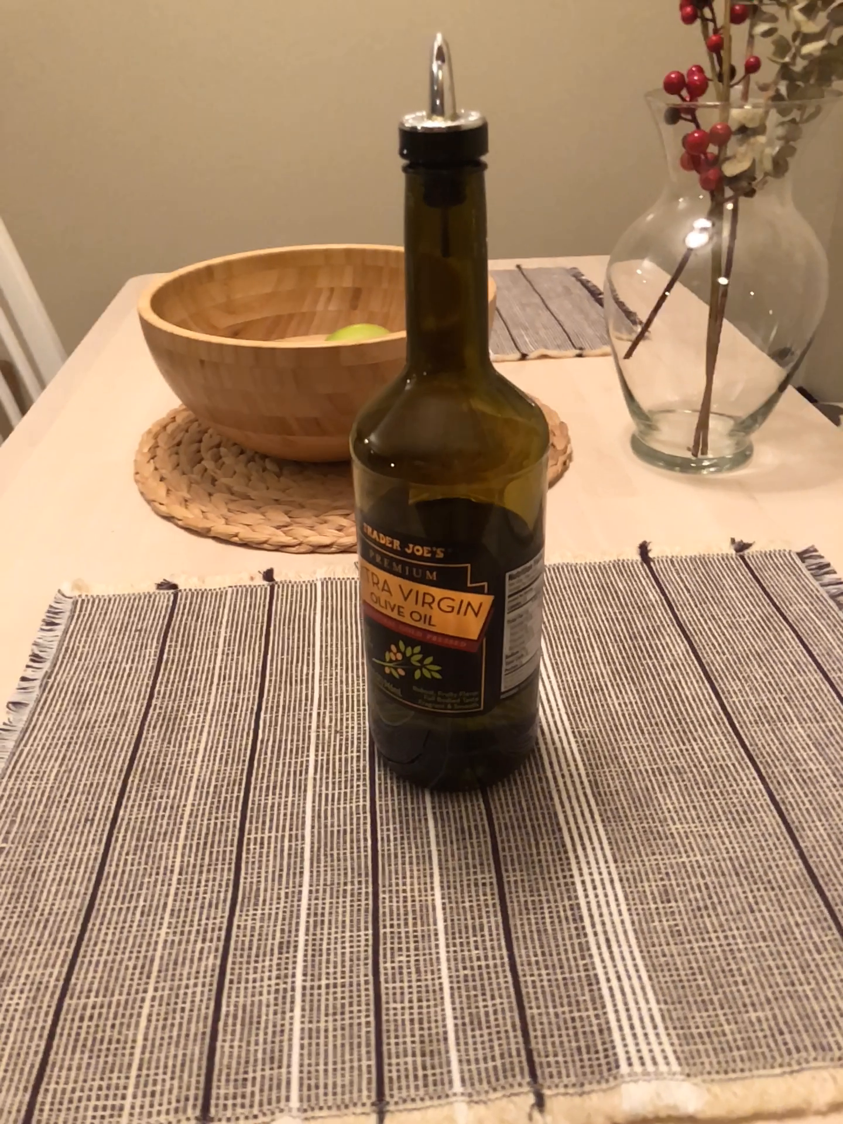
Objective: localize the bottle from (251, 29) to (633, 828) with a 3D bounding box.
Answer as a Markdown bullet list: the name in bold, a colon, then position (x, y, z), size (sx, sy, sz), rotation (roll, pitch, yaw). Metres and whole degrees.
- **bottle**: position (0.013, -0.046, 0.388), size (0.091, 0.304, 0.095), rotation (-1, 31, 1)
